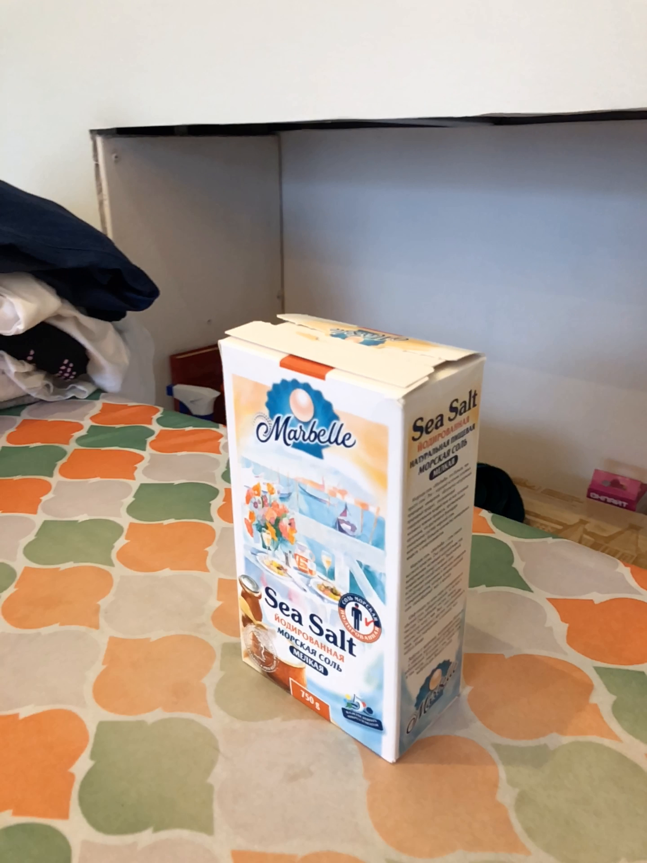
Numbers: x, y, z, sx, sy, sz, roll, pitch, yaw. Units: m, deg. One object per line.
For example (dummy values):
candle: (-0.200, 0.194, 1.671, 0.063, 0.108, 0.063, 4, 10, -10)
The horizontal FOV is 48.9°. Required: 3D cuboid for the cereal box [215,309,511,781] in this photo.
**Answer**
cereal box: (0.014, 0.044, 0.311, 0.100, 0.169, 0.060, 20, 31, 39)
